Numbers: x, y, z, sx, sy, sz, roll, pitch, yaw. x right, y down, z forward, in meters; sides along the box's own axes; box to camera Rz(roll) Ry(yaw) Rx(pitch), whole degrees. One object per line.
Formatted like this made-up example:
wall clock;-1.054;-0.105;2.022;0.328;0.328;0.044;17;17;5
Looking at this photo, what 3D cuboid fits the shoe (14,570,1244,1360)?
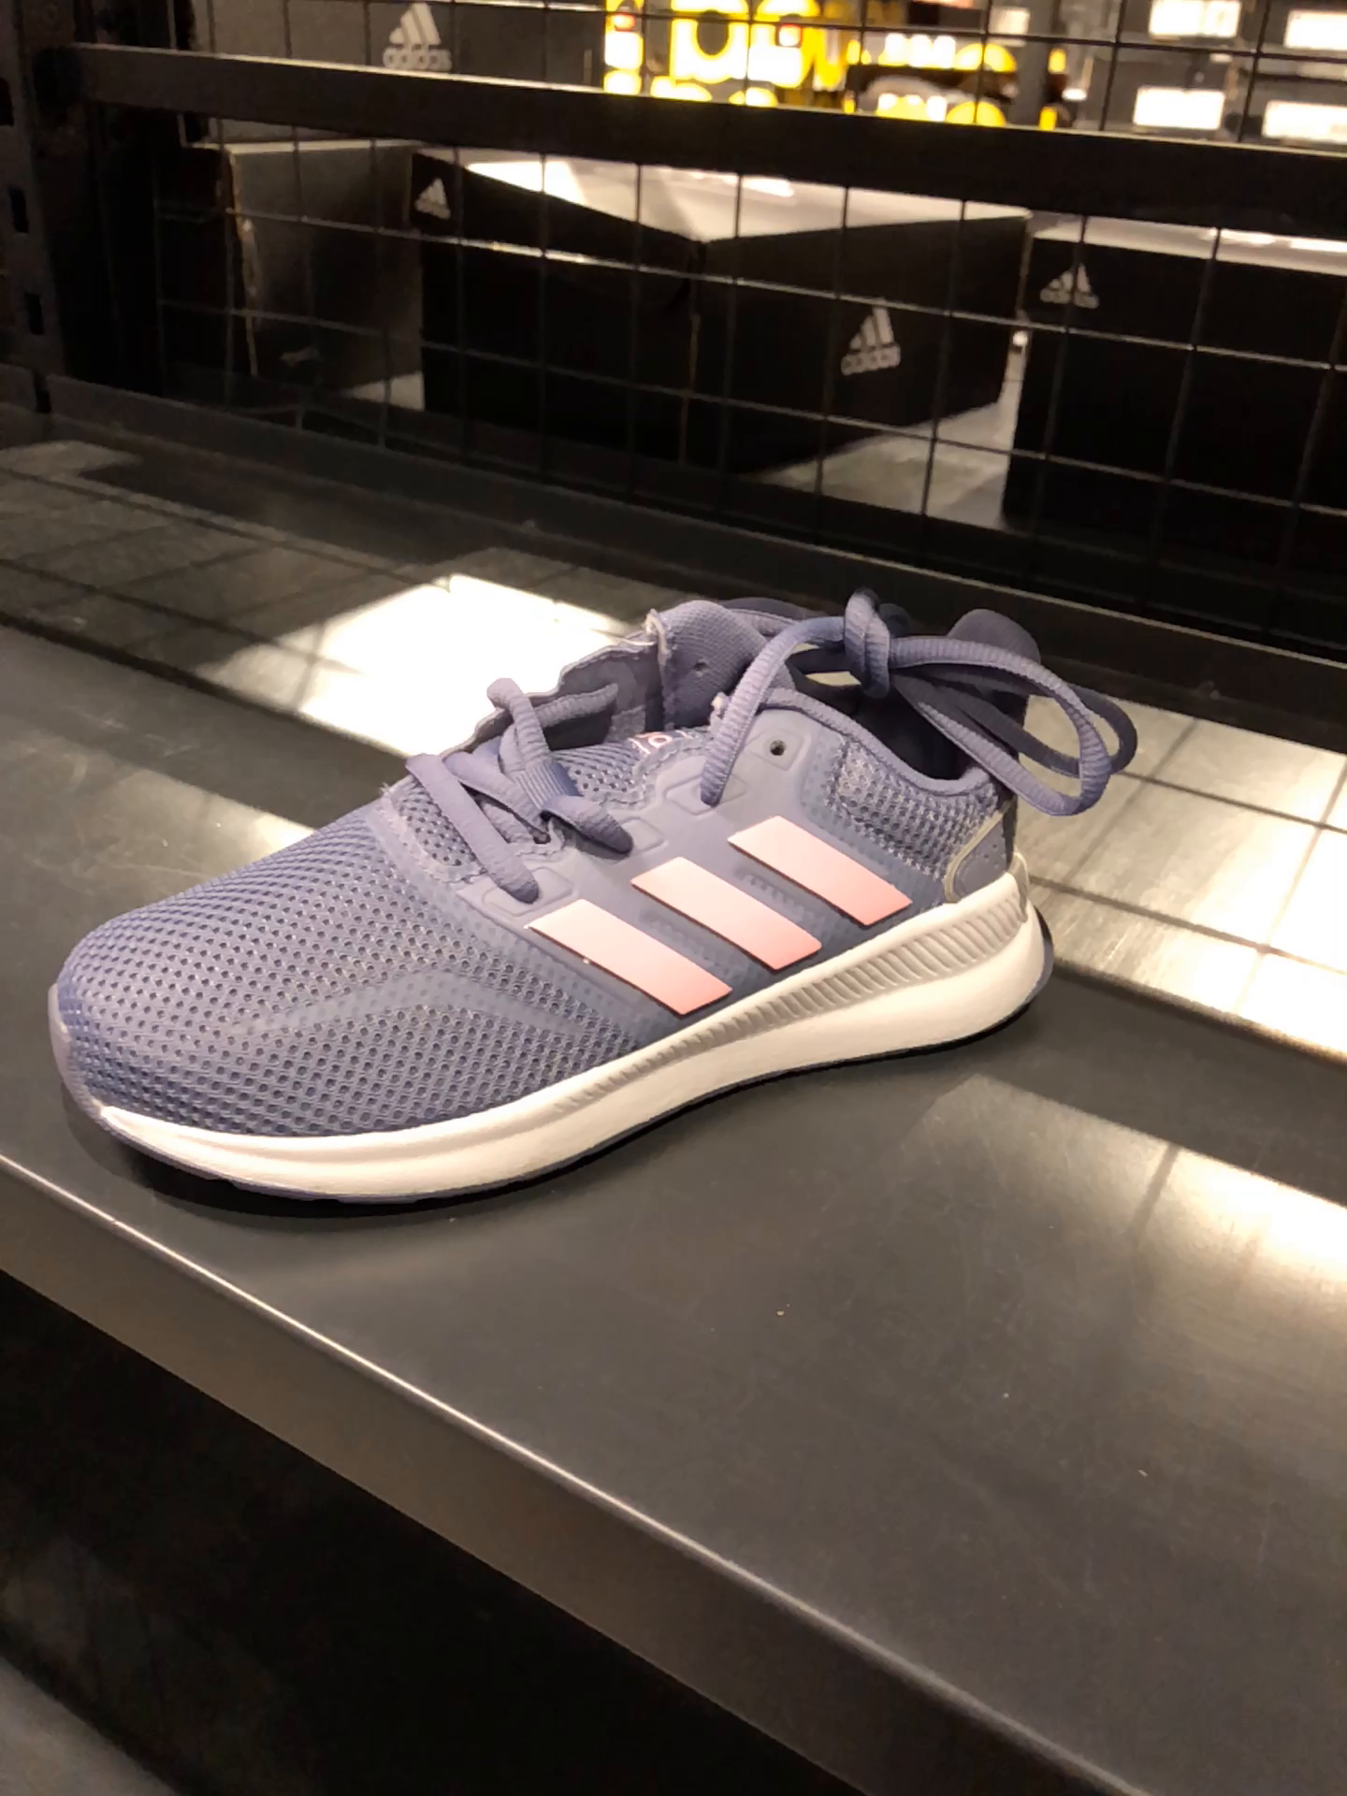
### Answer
shoe;-0.007;-0.001;0.312;0.220;0.090;0.090;-11;33;-24
